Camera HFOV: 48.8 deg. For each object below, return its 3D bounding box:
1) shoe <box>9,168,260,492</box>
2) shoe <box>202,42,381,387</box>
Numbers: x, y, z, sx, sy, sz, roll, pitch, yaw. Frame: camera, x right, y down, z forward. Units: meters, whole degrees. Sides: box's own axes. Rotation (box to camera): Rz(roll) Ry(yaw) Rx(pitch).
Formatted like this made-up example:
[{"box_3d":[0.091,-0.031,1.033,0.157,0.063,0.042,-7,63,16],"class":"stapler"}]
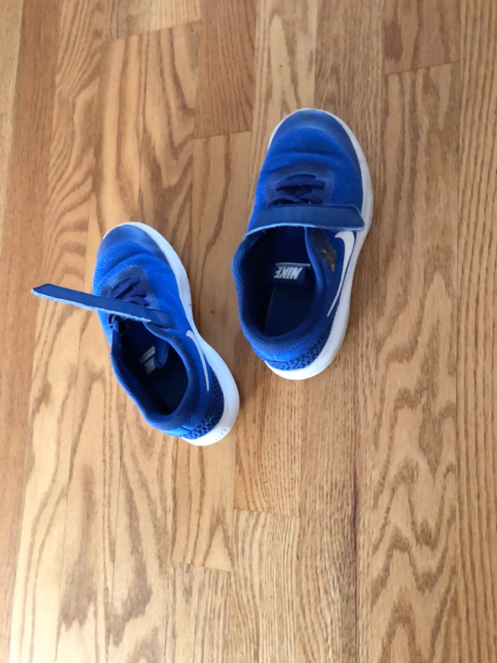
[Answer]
[{"box_3d":[-0.091,-0.001,0.433,0.093,0.092,0.214,-30,73,17],"class":"shoe"},{"box_3d":[0.037,-0.071,0.395,0.093,0.092,0.214,1,84,23],"class":"shoe"}]
